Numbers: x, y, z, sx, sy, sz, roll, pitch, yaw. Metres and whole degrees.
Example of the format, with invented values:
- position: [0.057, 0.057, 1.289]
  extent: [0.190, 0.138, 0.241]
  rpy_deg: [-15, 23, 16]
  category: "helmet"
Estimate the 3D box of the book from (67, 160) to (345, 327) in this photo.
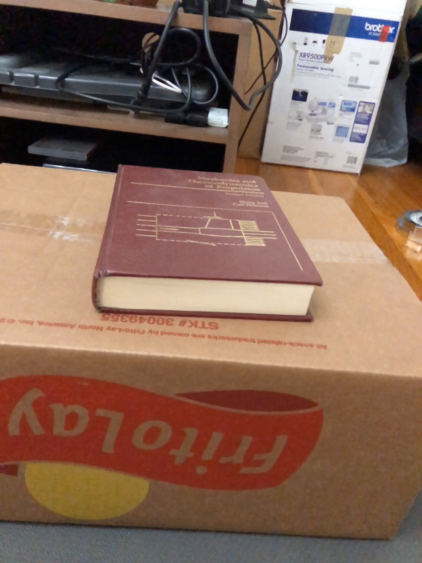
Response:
- position: [-0.011, -0.050, 0.429]
  extent: [0.190, 0.040, 0.241]
  rpy_deg: [3, 30, -7]
  category: "book"
